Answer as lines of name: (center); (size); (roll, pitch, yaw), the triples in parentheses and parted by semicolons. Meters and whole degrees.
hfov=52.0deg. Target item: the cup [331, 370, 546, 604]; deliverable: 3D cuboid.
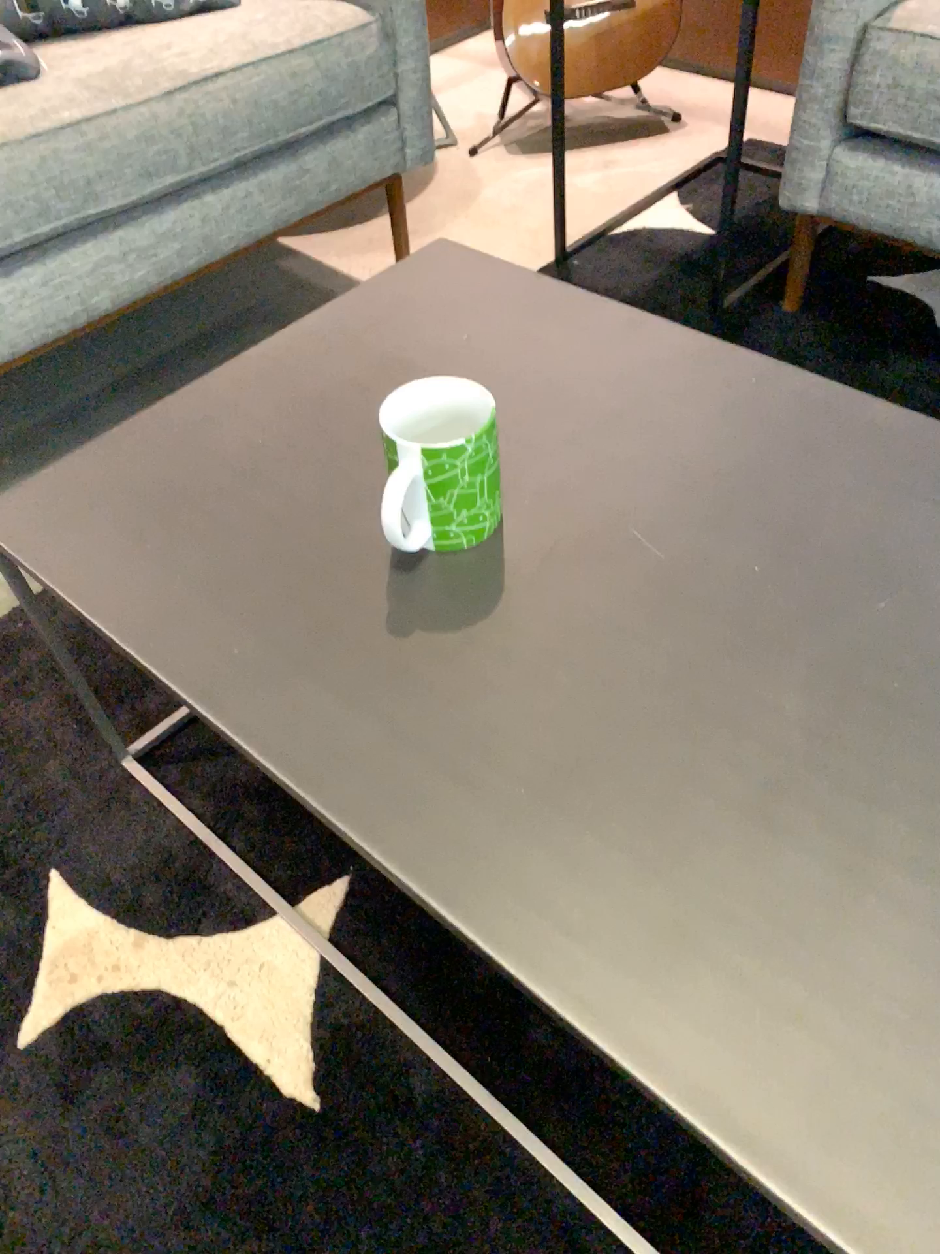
cup: (-0.017, -0.101, 0.679); (0.100, 0.090, 0.120); (17, 52, 20)
